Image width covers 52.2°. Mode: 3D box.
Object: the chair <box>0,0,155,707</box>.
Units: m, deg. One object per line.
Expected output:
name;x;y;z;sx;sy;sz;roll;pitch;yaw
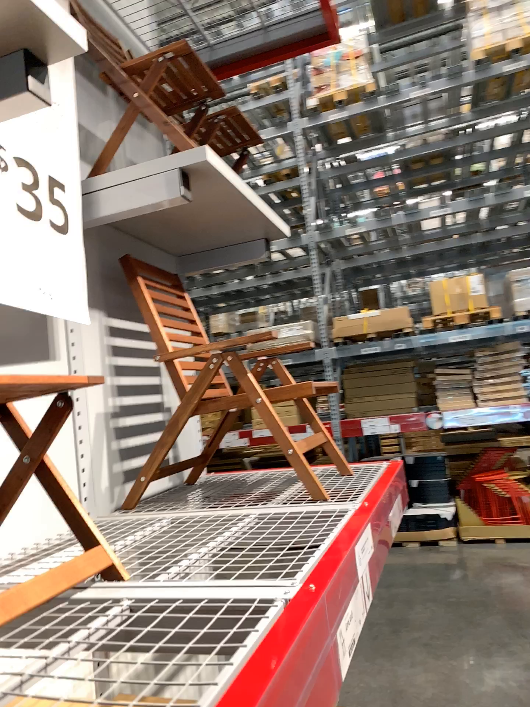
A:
chair;-0.675;0.051;0.986;0.631;0.885;0.614;-8;-6;17

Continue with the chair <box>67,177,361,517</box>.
chair;-0.172;0.017;2.152;0.891;1.056;0.614;-8;-6;17
